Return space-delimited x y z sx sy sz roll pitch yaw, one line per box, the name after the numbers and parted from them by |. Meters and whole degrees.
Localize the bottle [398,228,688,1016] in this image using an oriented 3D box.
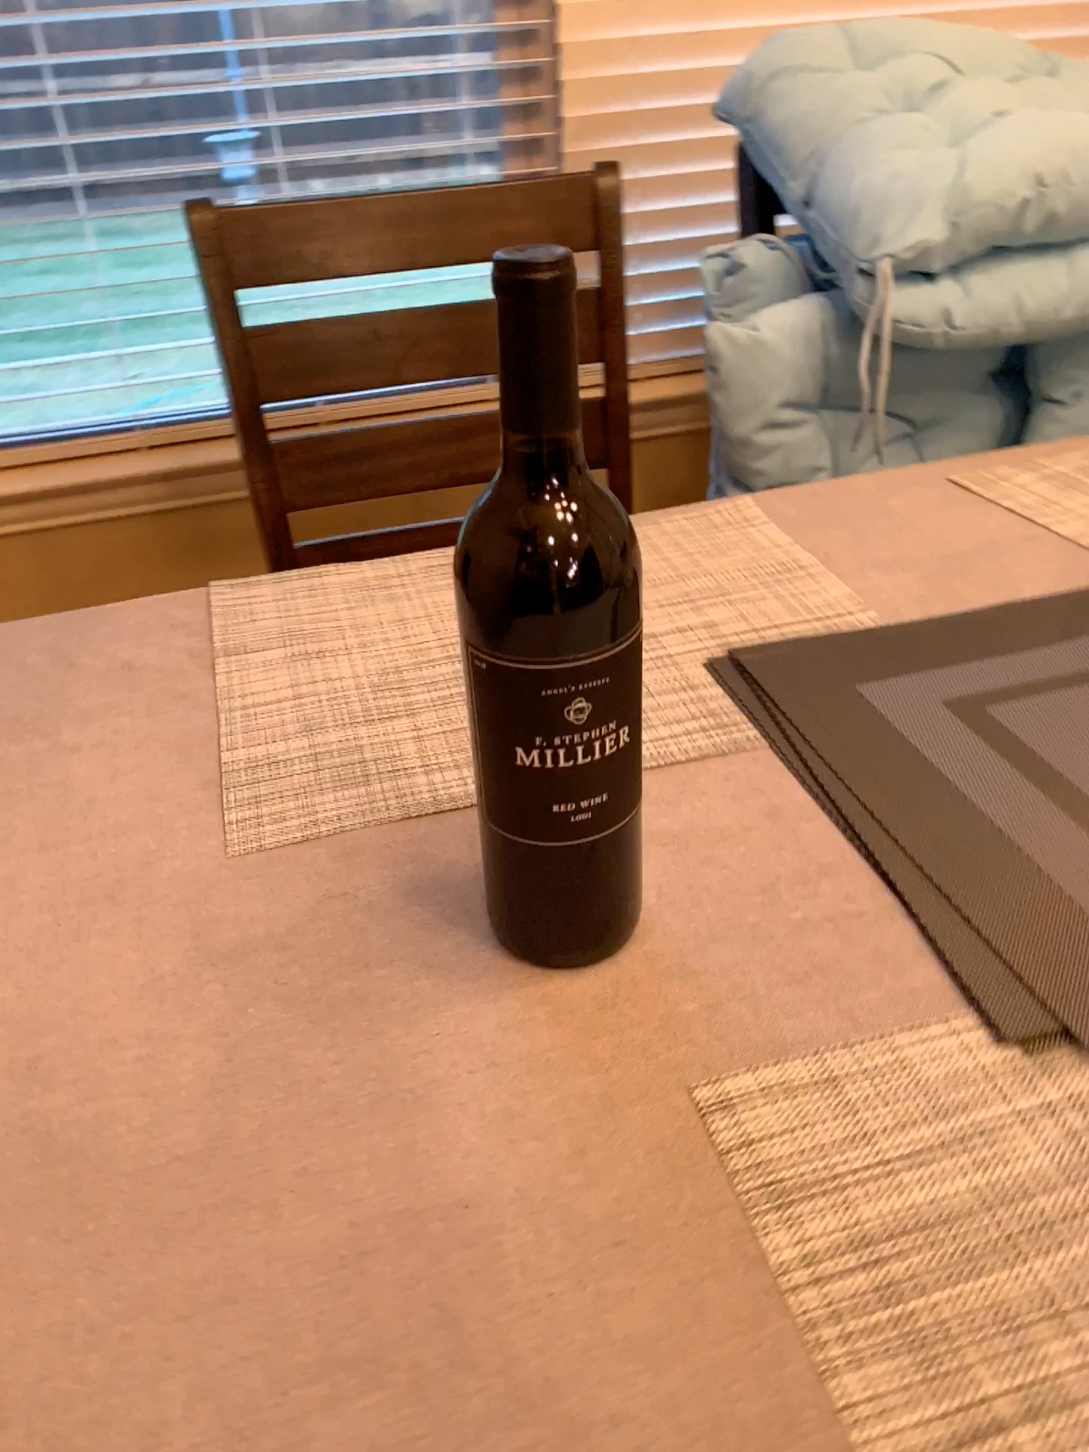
0.004 -0.028 0.464 0.080 0.314 0.080 -2 33 2 | bottle
